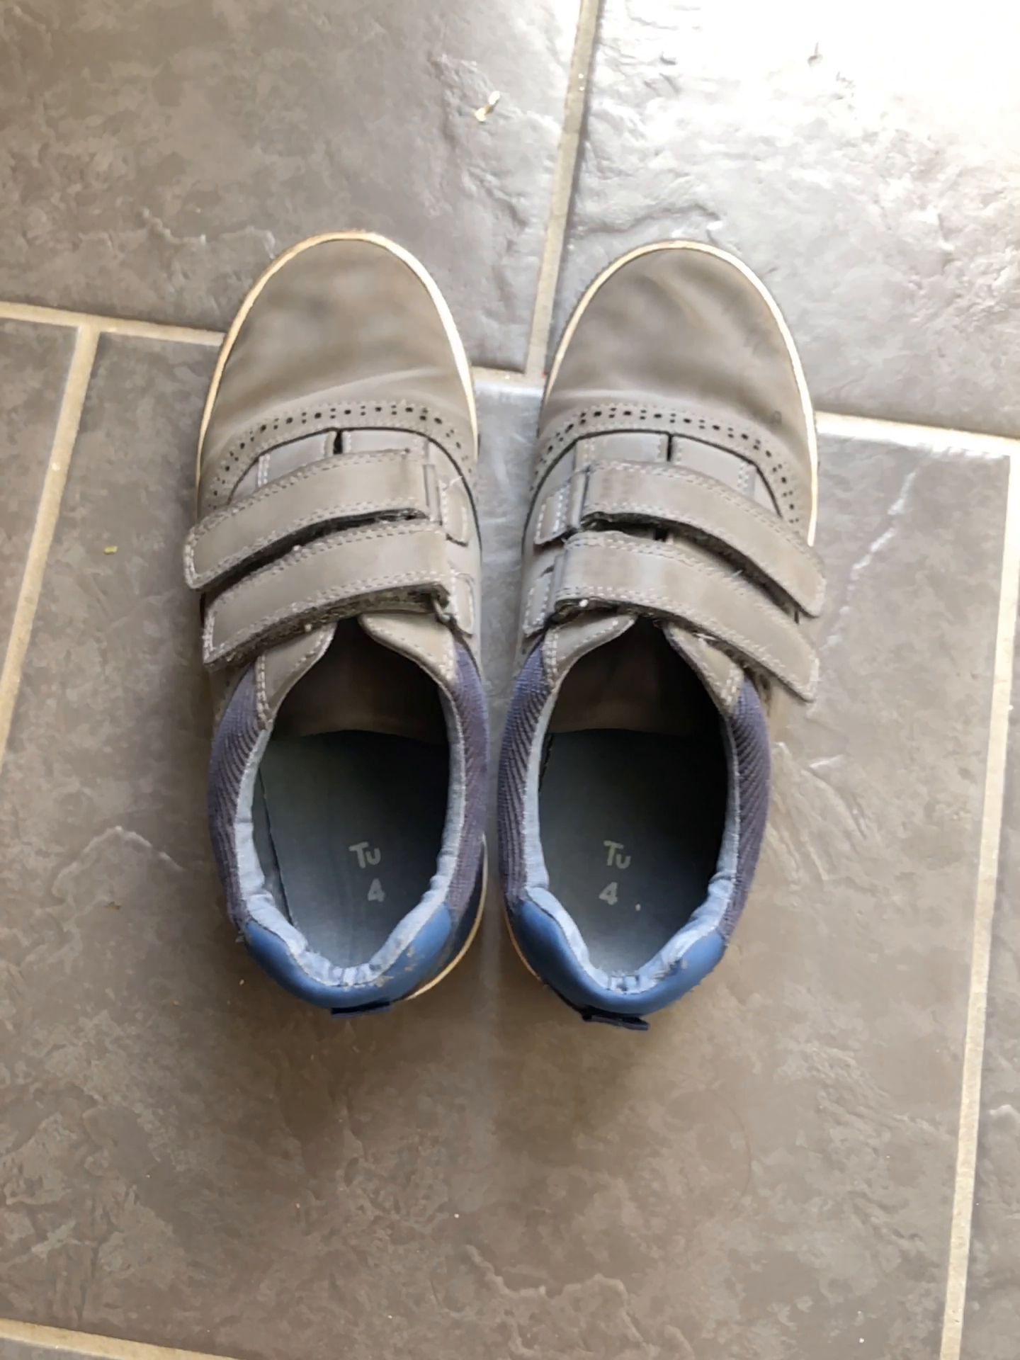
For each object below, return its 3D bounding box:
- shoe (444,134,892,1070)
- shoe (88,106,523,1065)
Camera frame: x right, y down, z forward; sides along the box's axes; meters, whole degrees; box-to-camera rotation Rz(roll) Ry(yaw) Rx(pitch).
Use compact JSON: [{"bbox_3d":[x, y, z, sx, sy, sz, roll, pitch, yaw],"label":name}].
[{"bbox_3d":[0.047,-0.025,0.341,0.100,0.070,0.250,6,81,2],"label":"shoe"},{"bbox_3d":[-0.057,-0.028,0.332,0.100,0.070,0.250,-5,80,1],"label":"shoe"}]
